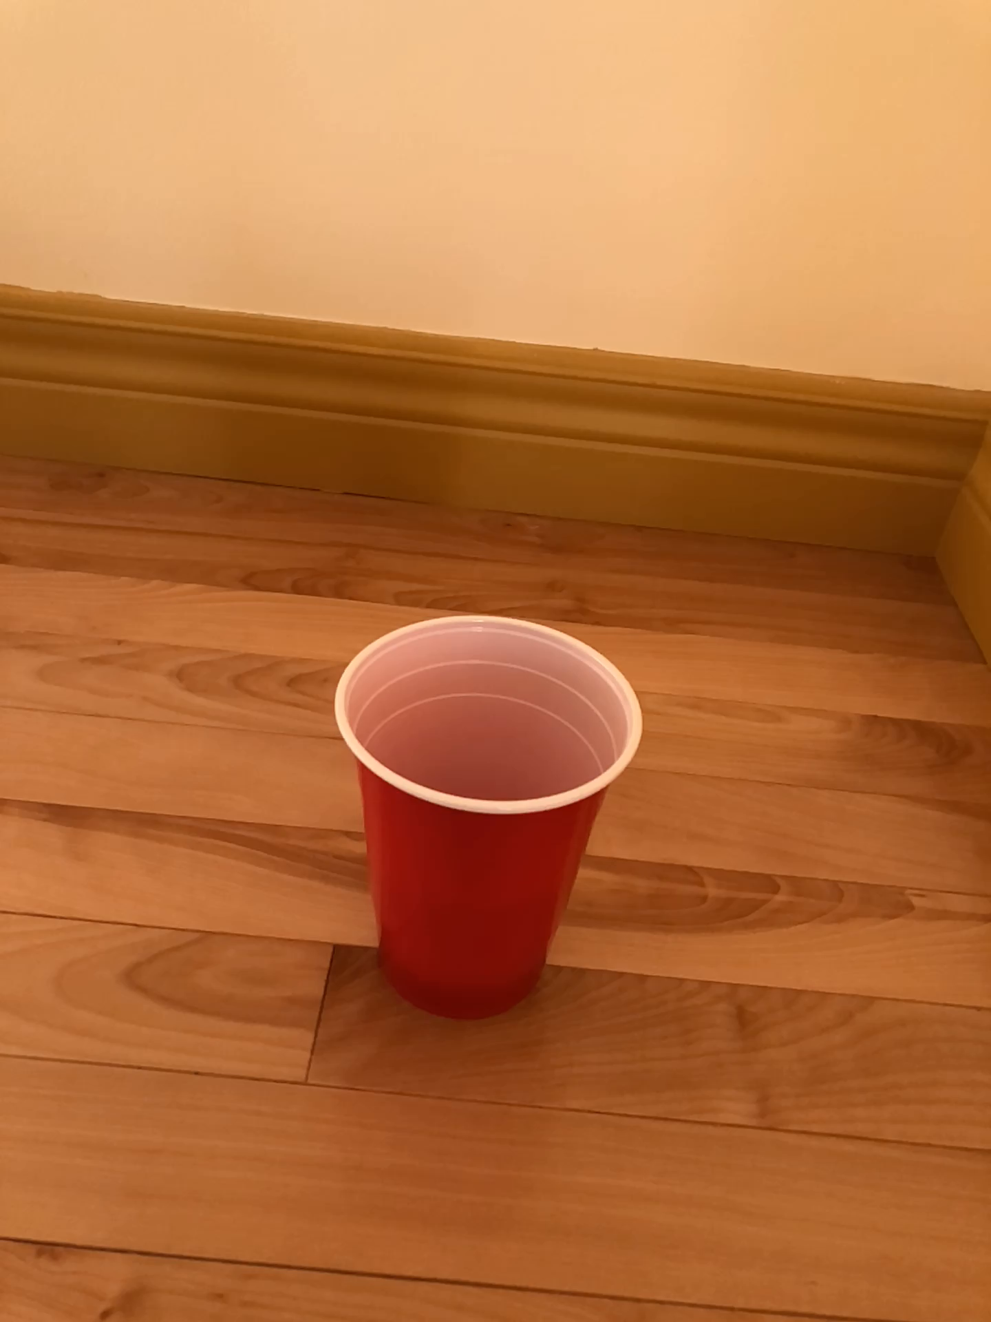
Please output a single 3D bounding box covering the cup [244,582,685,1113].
[{"bbox_3d":[-0.010,0.057,0.367,0.100,0.109,0.100,4,36,-3],"label":"cup"}]
